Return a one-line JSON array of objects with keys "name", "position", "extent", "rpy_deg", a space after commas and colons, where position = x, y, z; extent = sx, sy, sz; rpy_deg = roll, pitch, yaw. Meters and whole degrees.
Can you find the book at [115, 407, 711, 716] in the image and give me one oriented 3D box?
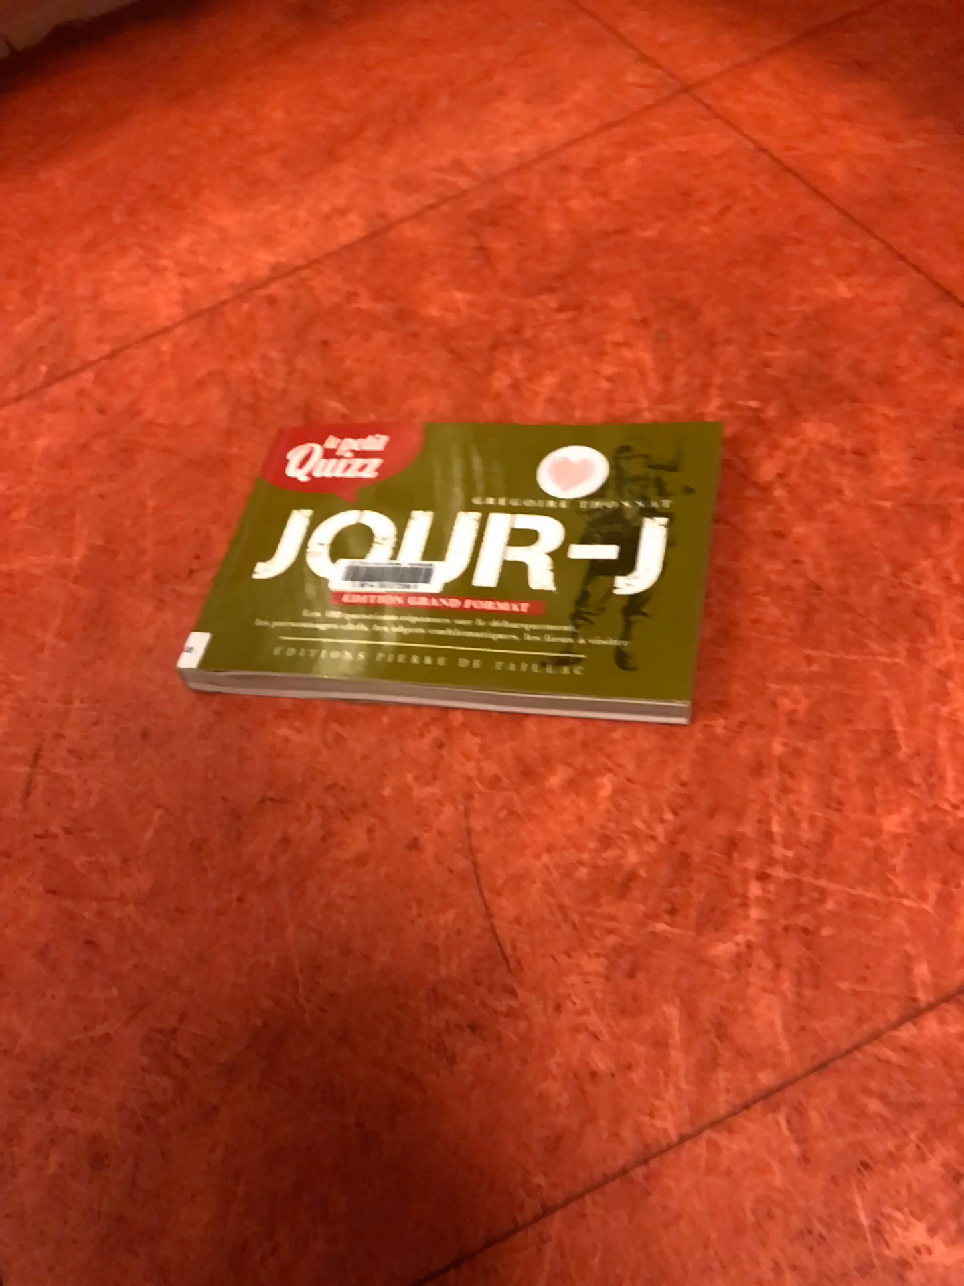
[{"name": "book", "position": [-0.023, -0.040, 0.427], "extent": [0.218, 0.016, 0.137], "rpy_deg": [3, 56, 14]}]
